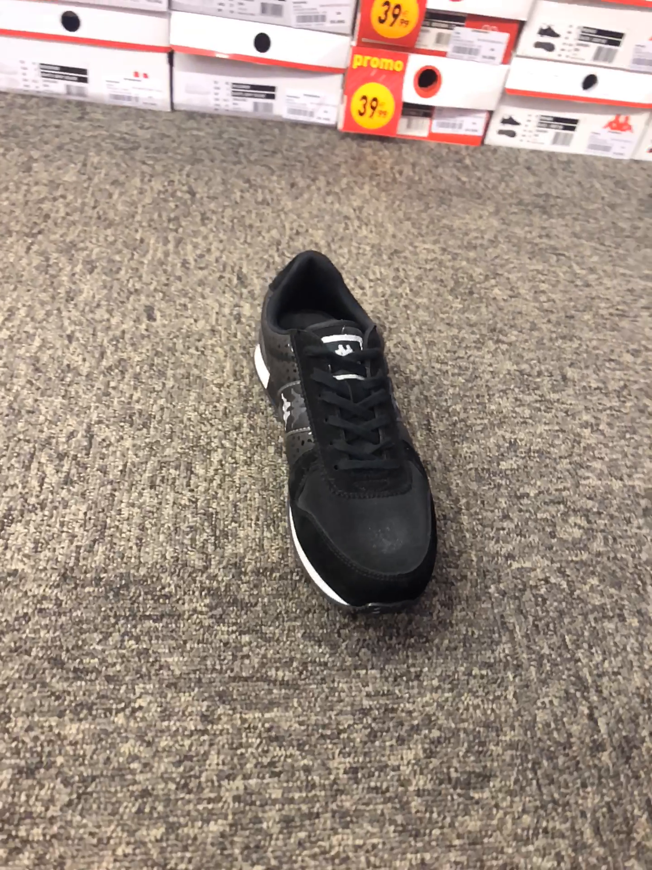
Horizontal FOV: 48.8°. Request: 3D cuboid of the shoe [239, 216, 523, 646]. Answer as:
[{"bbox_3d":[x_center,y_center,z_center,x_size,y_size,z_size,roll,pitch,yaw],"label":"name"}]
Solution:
[{"bbox_3d":[0.015,-0.020,0.463,0.100,0.090,0.275,-4,53,-14],"label":"shoe"}]
